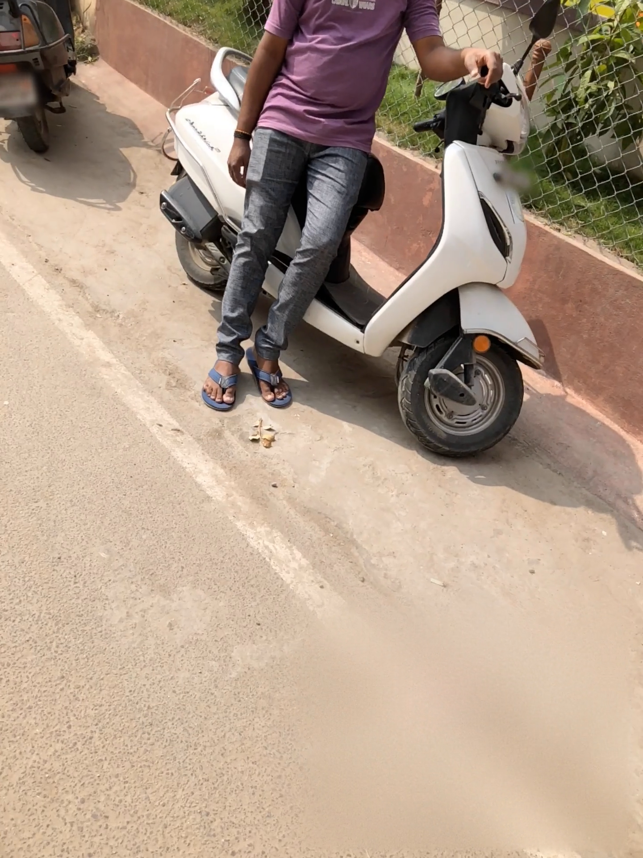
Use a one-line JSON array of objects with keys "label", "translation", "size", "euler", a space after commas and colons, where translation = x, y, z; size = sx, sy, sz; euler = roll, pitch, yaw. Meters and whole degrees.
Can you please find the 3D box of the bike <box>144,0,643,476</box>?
[{"label": "bike", "translation": [0.193, -0.772, 2.535], "size": [1.551, 1.112, 0.622], "euler": [32, 37, 23]}]
